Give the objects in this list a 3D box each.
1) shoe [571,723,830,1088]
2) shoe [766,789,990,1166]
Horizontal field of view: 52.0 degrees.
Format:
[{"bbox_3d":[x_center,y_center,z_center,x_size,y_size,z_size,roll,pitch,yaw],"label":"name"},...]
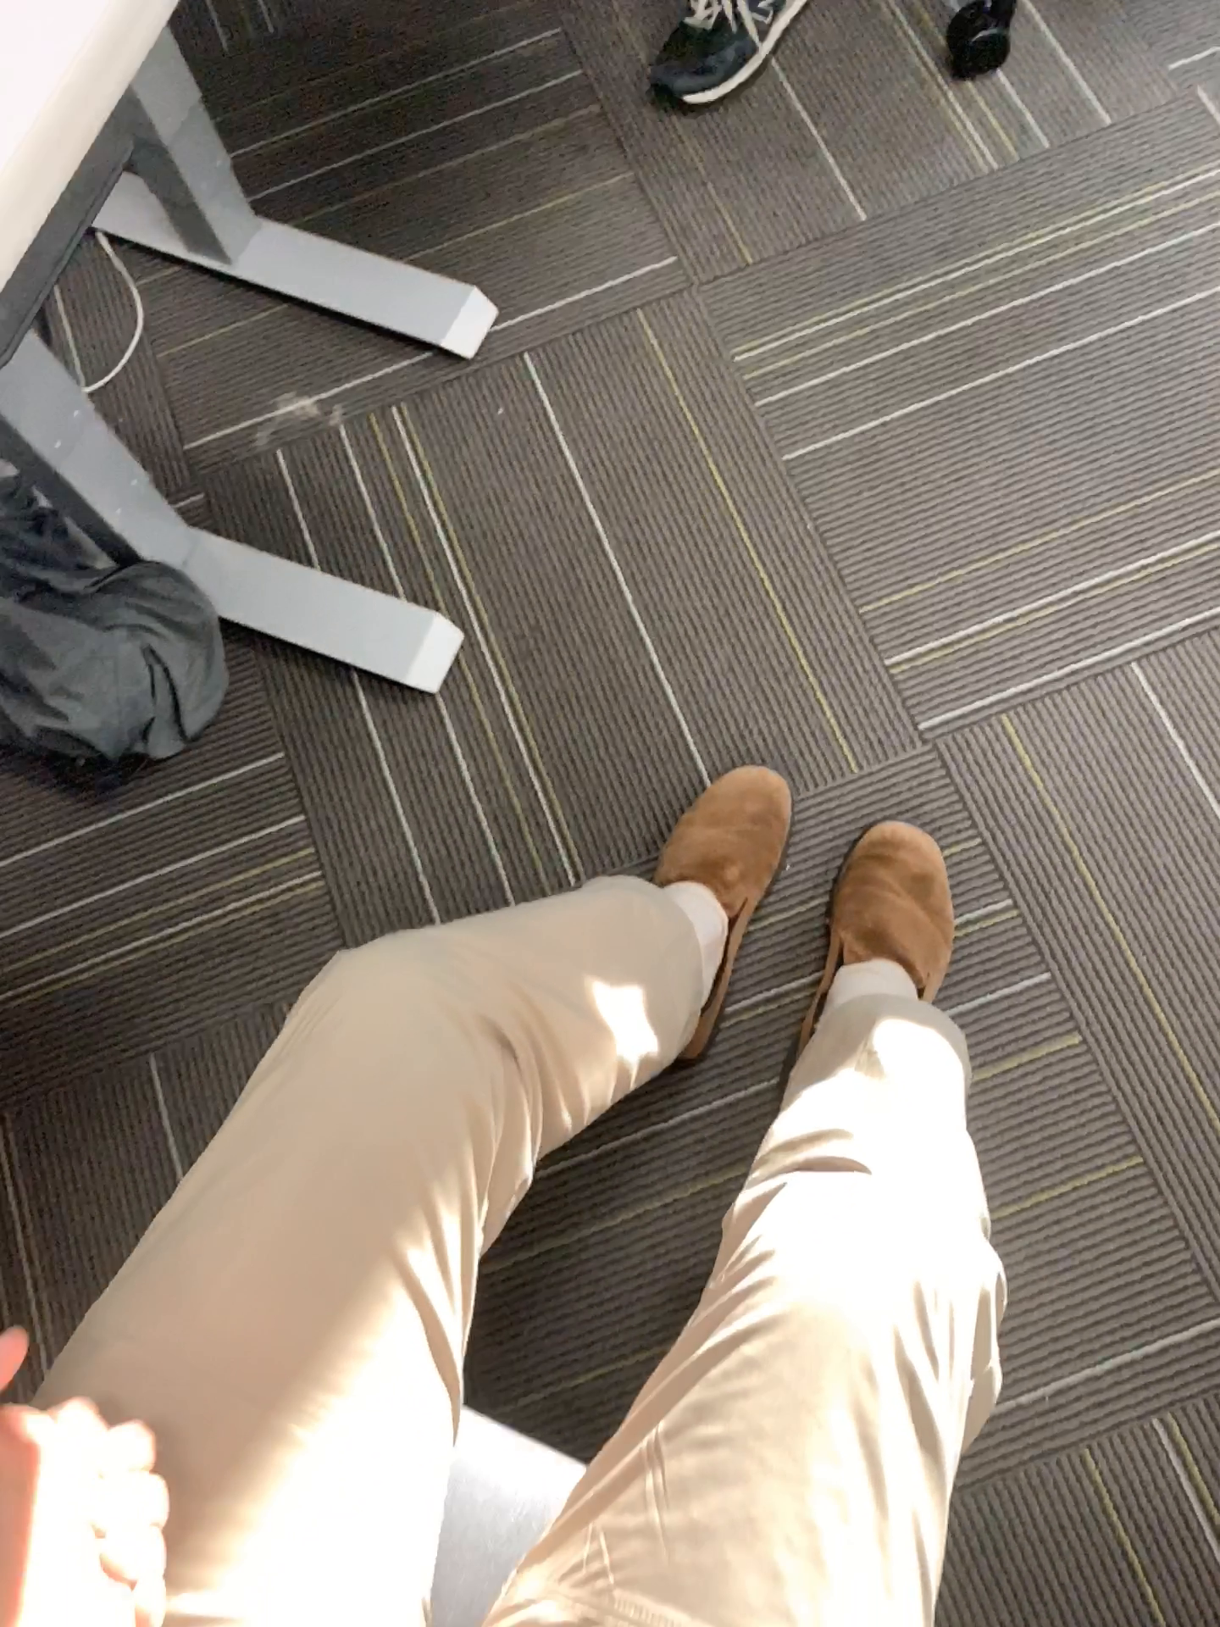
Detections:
[{"bbox_3d":[0.088,0.083,1.163,0.119,0.077,0.307,22,77,13],"label":"shoe"},{"bbox_3d":[0.240,0.146,1.128,0.120,0.077,0.307,15,75,12],"label":"shoe"}]
